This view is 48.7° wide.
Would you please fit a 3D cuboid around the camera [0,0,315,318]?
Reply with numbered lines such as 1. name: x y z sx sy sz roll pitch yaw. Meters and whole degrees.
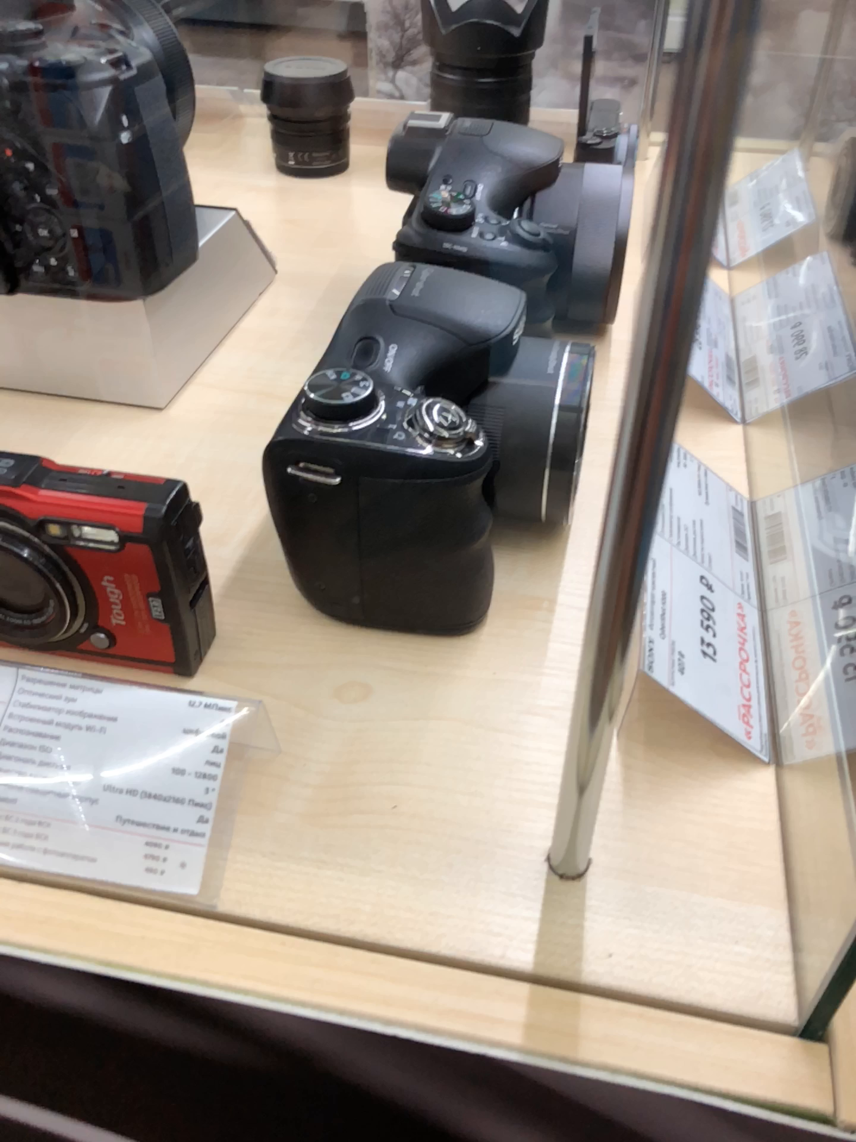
1. camera: -0.135 -0.190 0.368 0.132 0.106 0.169 7 40 8

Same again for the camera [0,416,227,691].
1. camera: -0.122 -0.005 0.284 0.111 0.069 0.026 7 40 8

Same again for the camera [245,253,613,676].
1. camera: 0.008 -0.043 0.324 0.091 0.078 0.124 8 41 9

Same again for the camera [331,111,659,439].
1. camera: 0.035 -0.144 0.445 0.125 0.097 0.124 8 41 9
